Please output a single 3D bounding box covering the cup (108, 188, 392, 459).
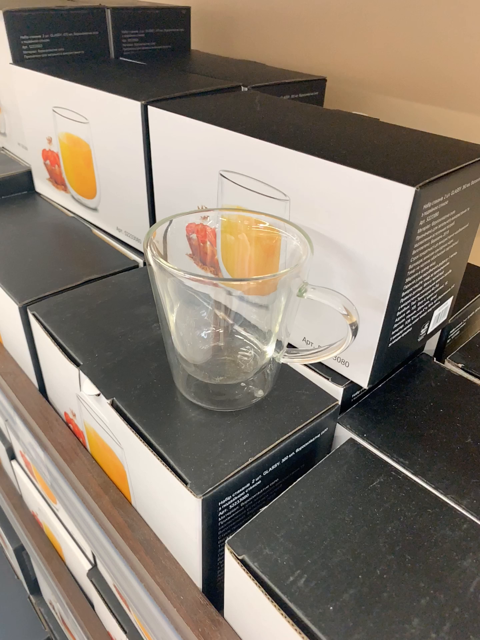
[{"bbox_3d":[0.008,-0.002,0.242,0.110,0.090,0.070,11,36,11],"label":"cup"}]
